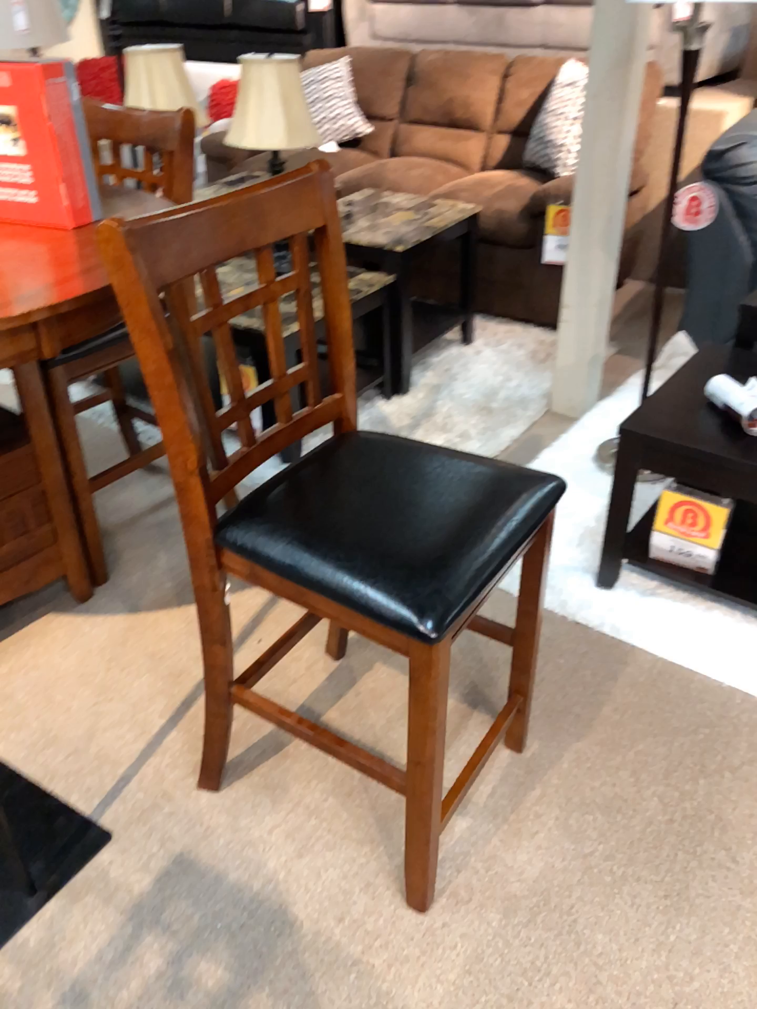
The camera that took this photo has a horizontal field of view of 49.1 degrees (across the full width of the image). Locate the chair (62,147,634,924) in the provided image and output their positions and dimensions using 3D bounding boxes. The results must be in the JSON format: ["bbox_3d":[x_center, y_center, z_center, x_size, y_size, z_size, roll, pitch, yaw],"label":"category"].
[{"bbox_3d":[-0.018,0.033,1.261,0.521,0.963,0.472,18,37,27],"label":"chair"}]
